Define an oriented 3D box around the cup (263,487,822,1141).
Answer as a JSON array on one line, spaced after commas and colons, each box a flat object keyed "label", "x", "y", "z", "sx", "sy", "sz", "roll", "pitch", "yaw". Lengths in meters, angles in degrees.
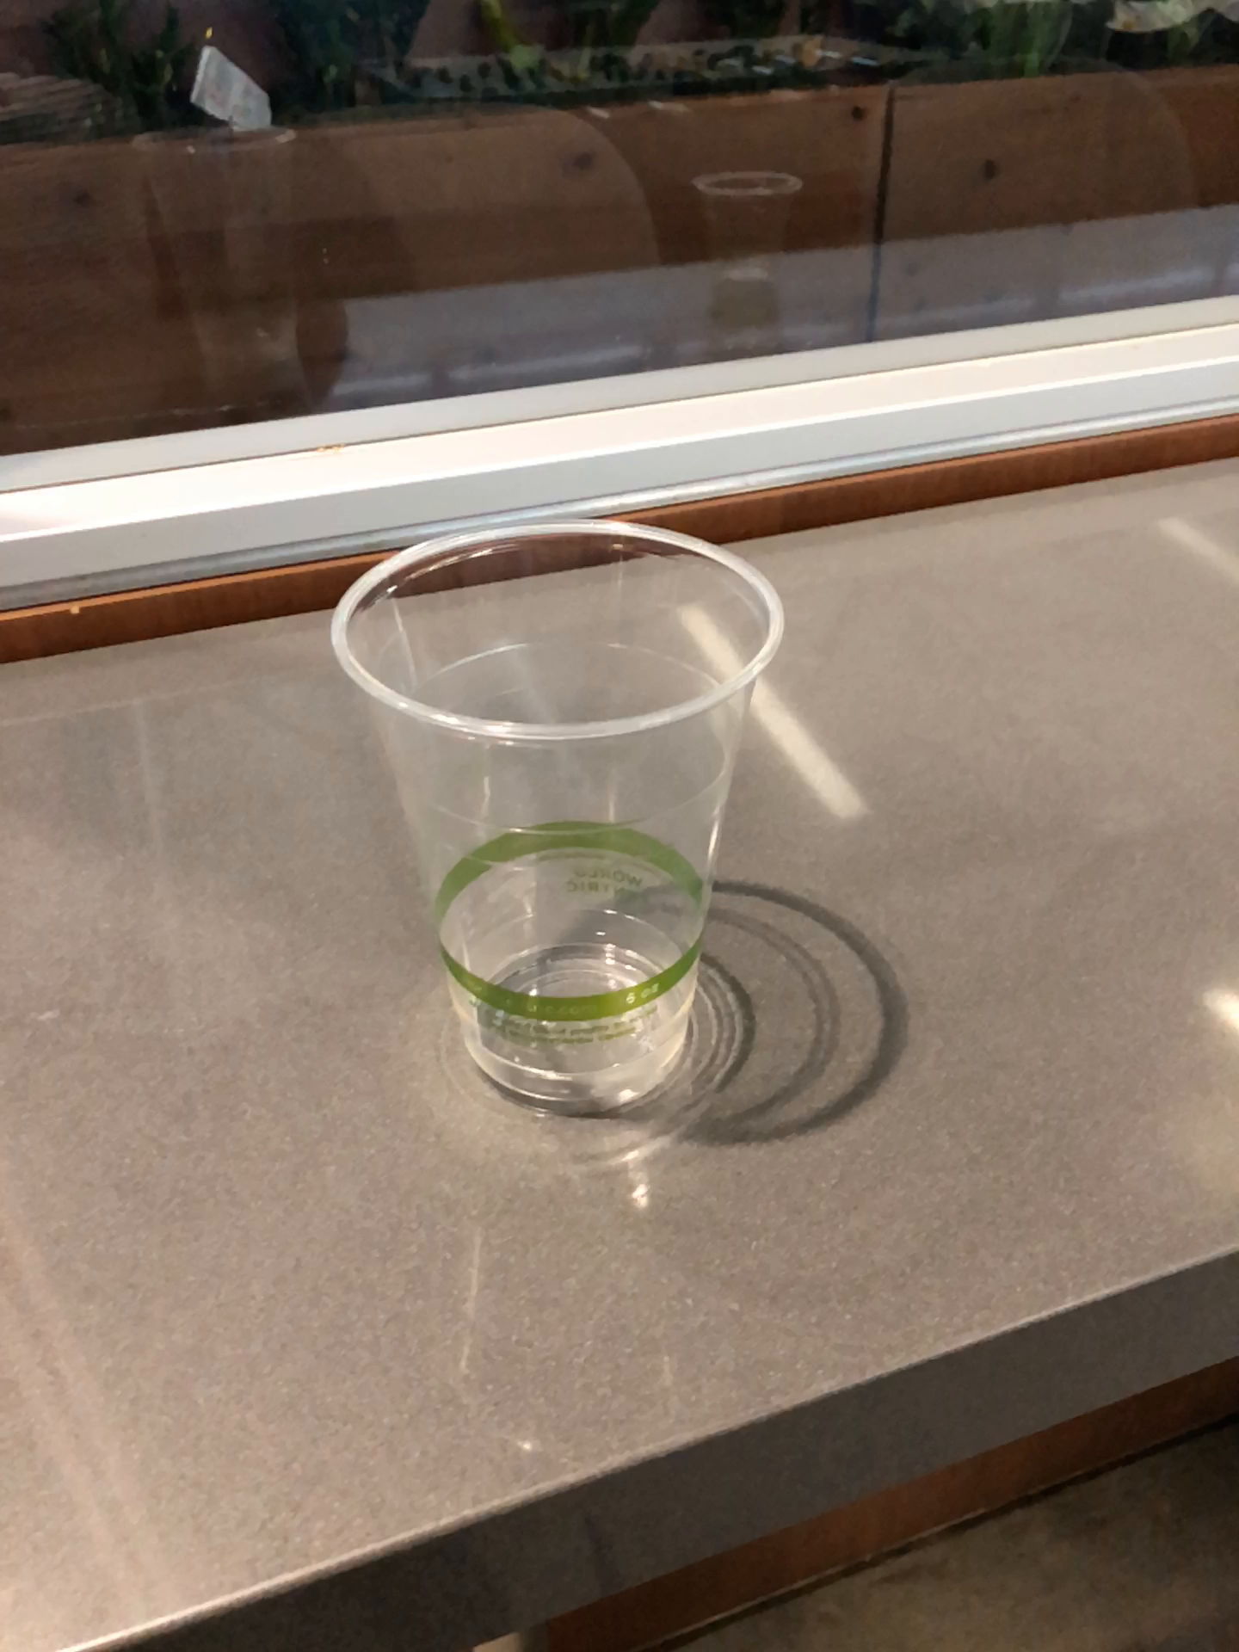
[{"label": "cup", "x": -0.009, "y": -0.007, "z": 0.329, "sx": 0.100, "sy": 0.109, "sz": 0.100, "roll": -1, "pitch": 35, "yaw": 1}]
